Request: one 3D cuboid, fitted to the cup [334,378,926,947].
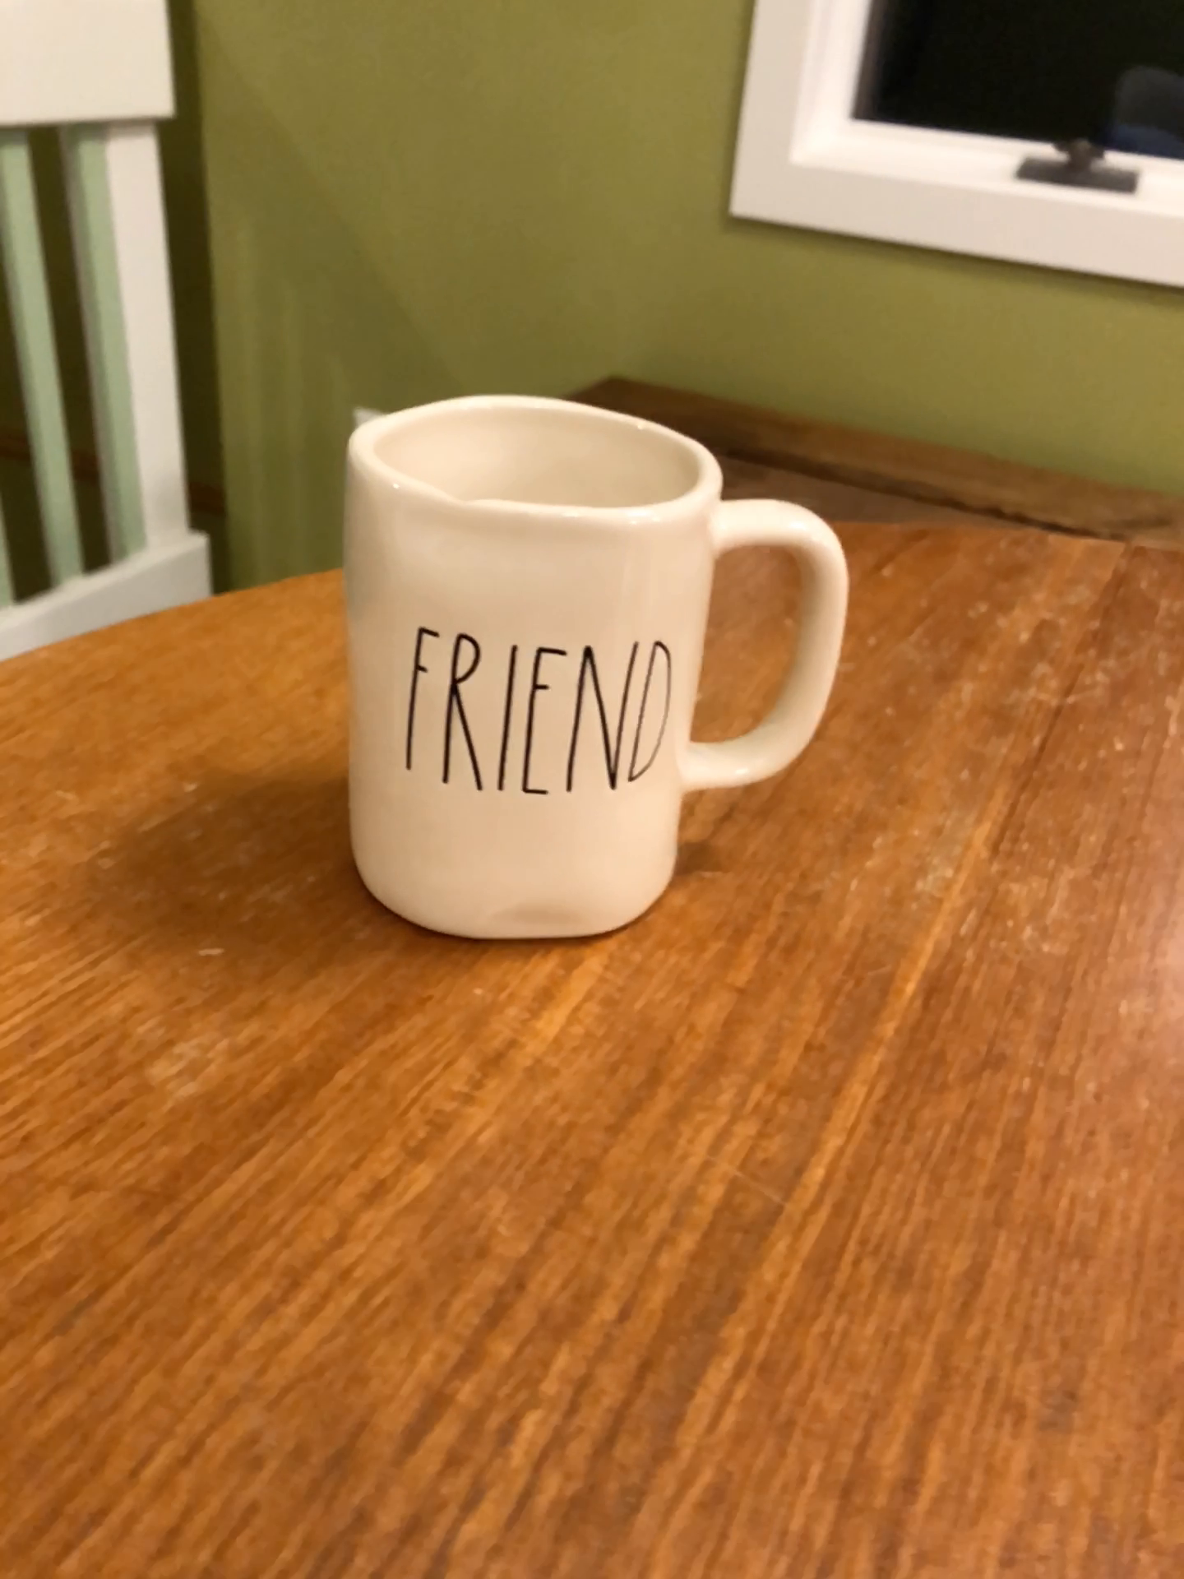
[{"bbox_3d":[-0.001,-0.034,0.335,0.124,0.114,0.084,-1,31,-10],"label":"cup"}]
